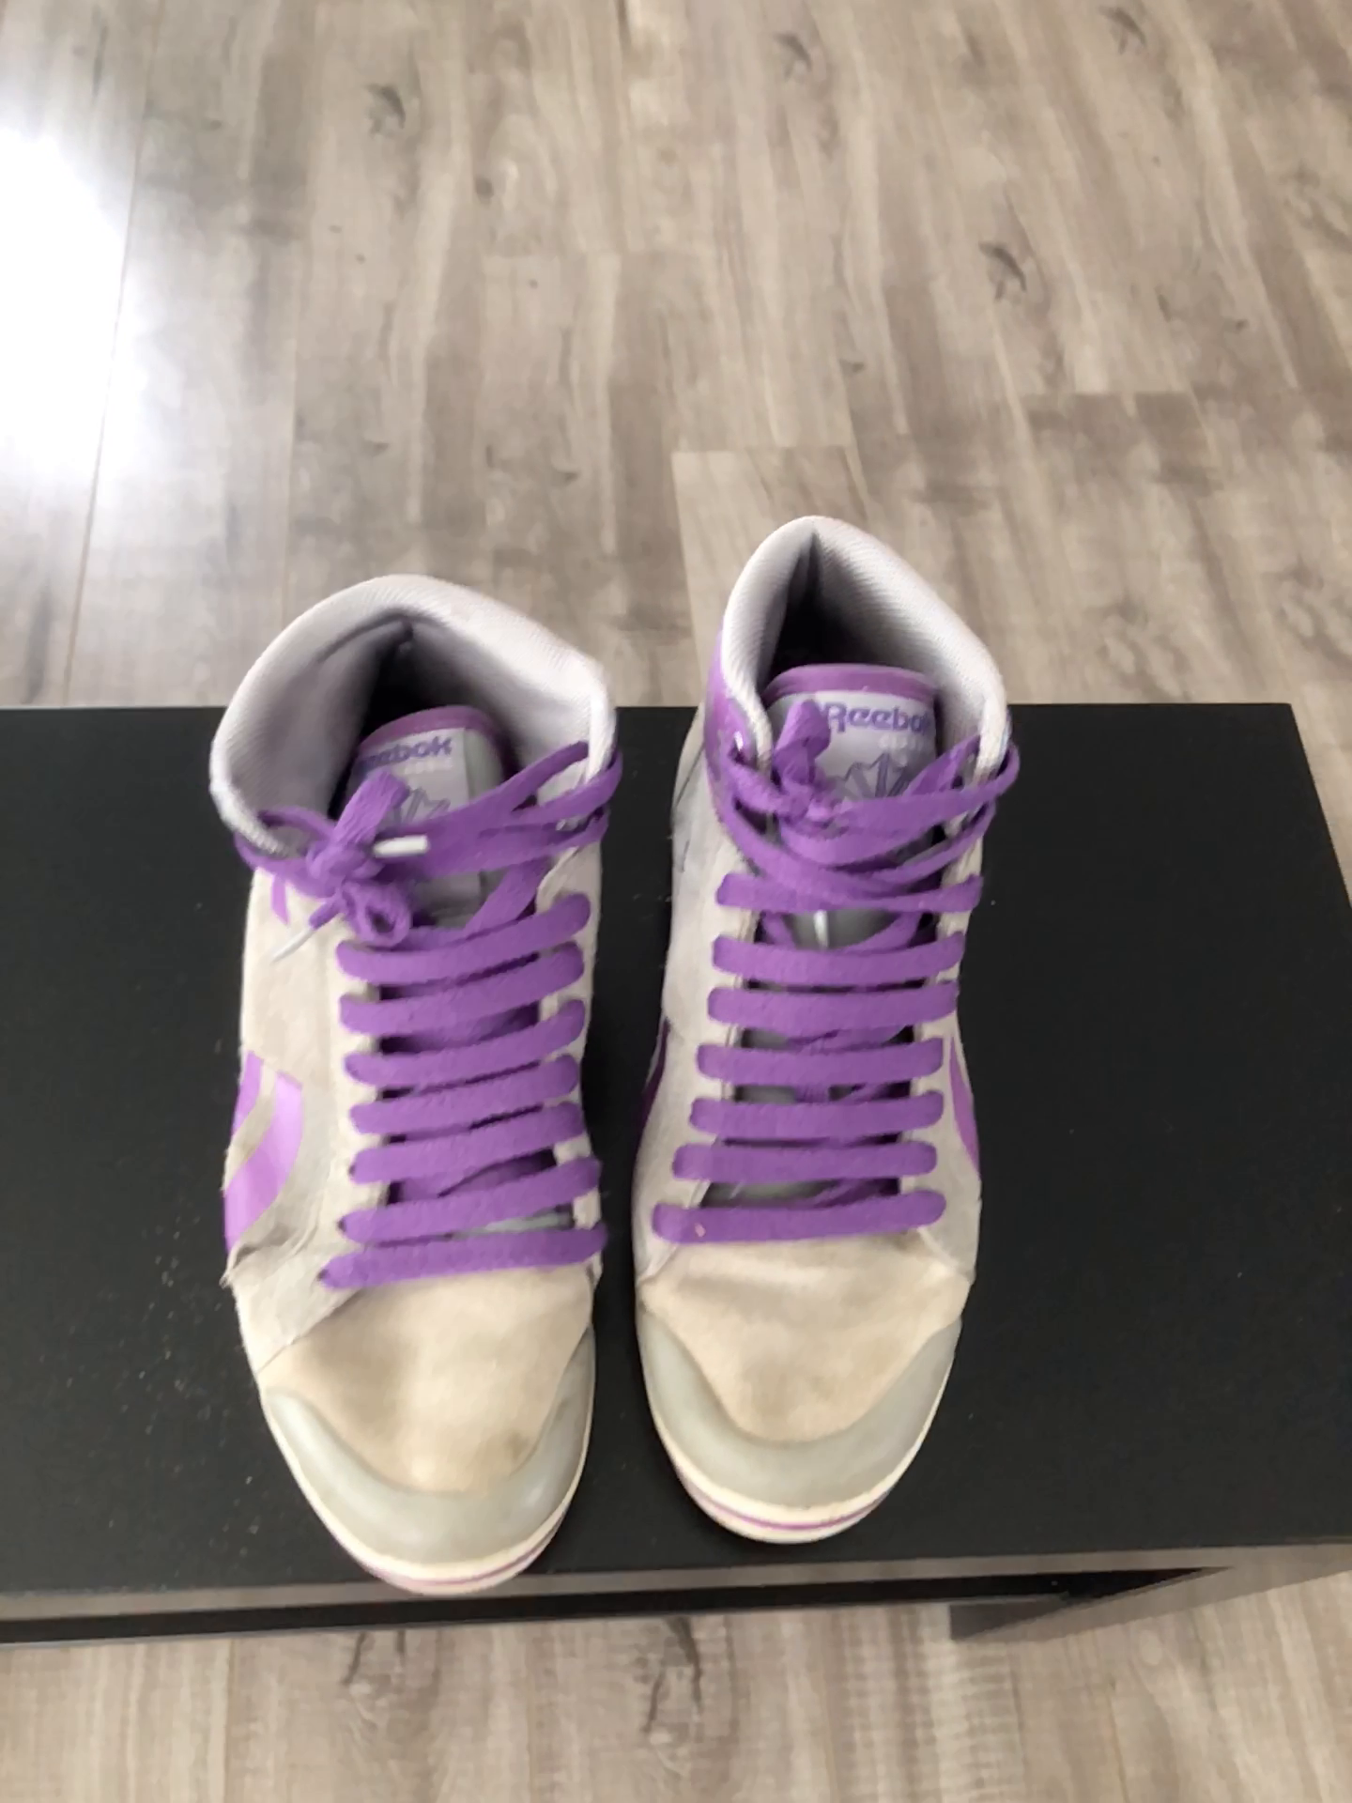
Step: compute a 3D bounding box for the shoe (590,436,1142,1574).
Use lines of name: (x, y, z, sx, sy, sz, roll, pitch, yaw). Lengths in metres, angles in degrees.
shoe: (0.032, 0.020, 0.353, 0.090, 0.110, 0.241, 3, 60, -2)

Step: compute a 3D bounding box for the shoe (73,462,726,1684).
shoe: (-0.062, 0.034, 0.342, 0.100, 0.120, 0.241, -6, 60, -7)
